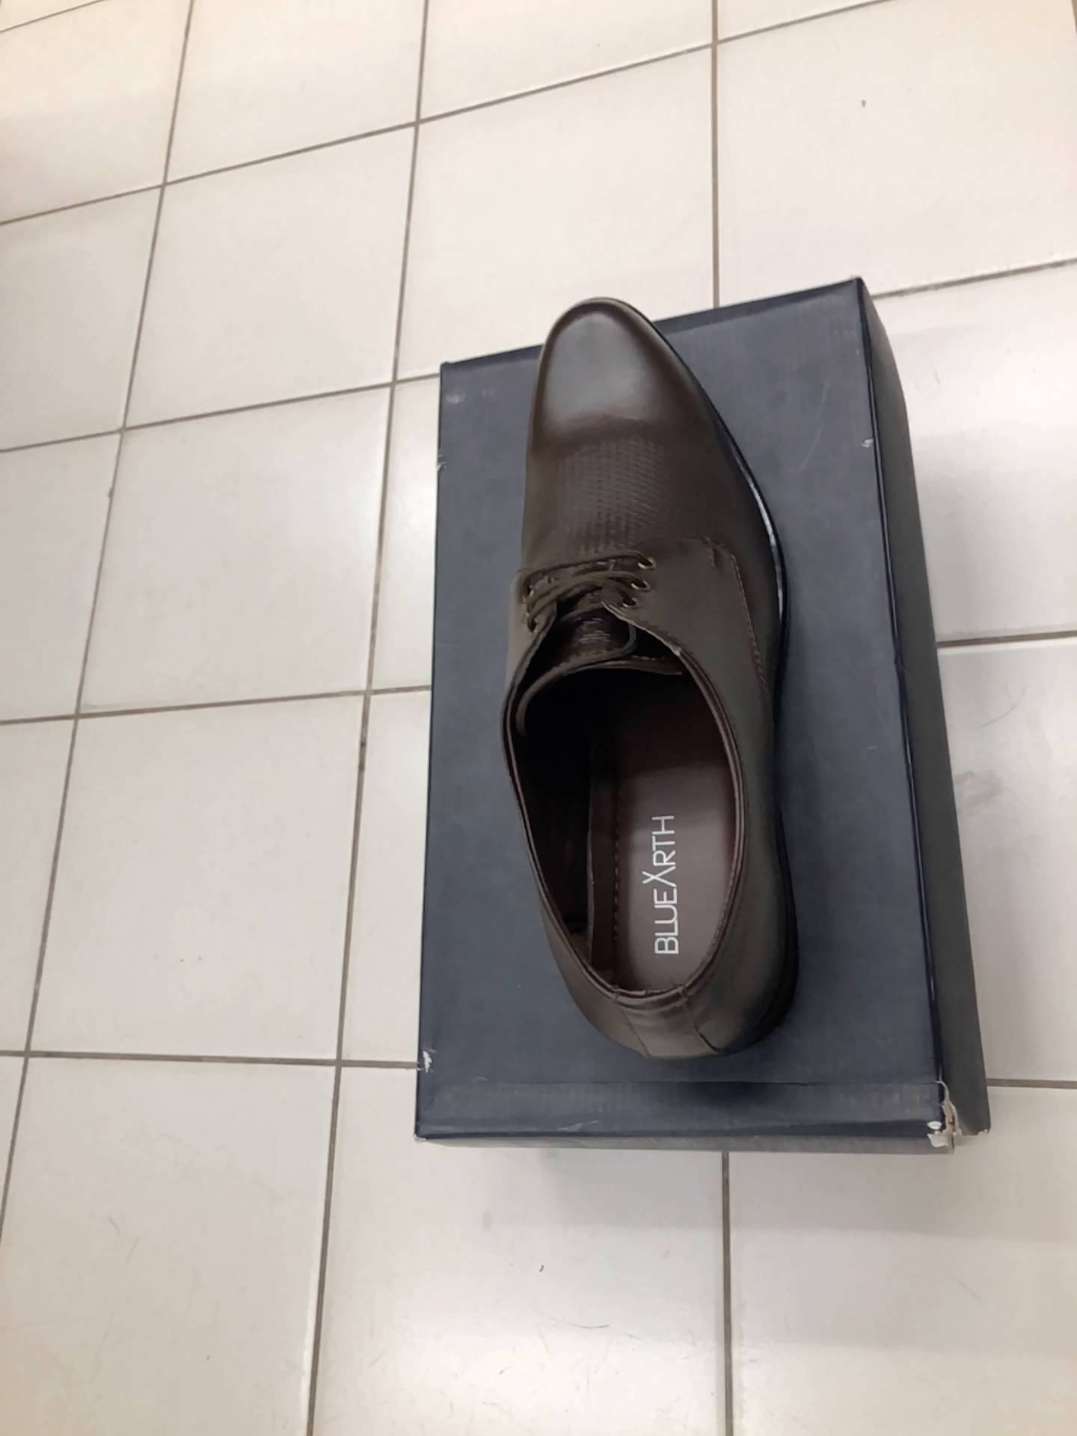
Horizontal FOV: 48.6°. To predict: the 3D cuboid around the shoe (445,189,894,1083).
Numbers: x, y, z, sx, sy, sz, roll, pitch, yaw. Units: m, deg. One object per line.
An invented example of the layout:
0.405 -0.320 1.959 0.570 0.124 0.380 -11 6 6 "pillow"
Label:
0.045 -0.024 0.434 0.103 0.109 0.291 -12 69 17 "shoe"
